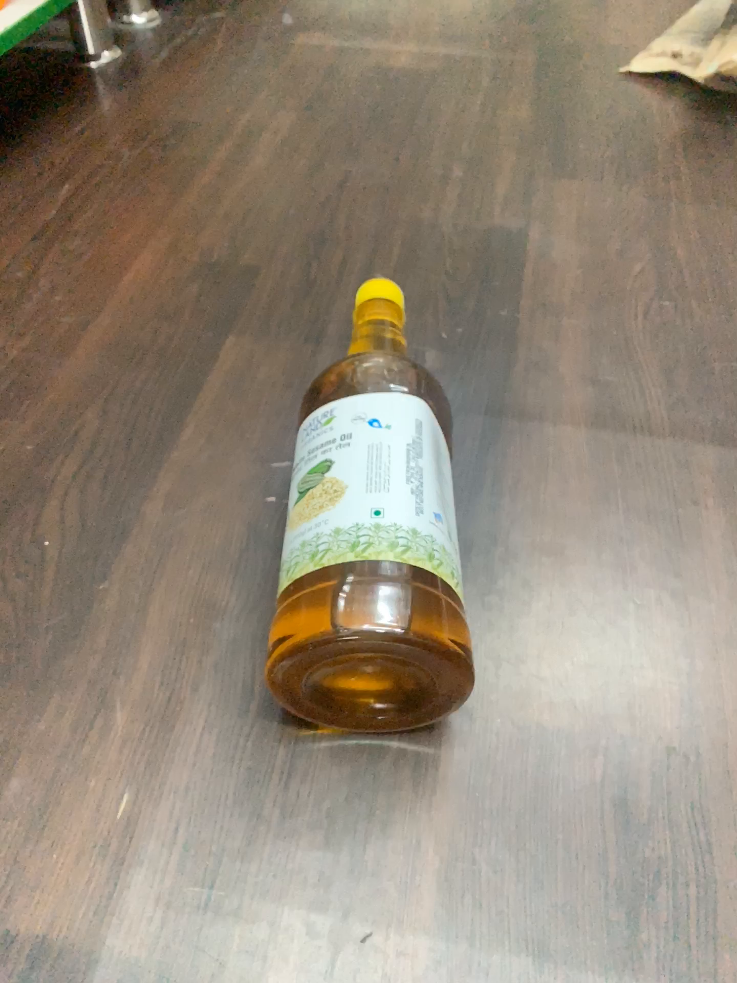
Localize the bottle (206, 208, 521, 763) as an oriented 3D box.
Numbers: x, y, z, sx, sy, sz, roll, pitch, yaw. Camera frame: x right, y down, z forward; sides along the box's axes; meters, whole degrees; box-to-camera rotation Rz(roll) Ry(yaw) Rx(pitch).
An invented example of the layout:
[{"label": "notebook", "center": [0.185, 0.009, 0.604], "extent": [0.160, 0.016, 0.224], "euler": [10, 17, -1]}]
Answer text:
[{"label": "bottle", "center": [0.005, -0.021, 0.383], "extent": [0.080, 0.090, 0.271], "euler": [-32, 36, 32]}]
